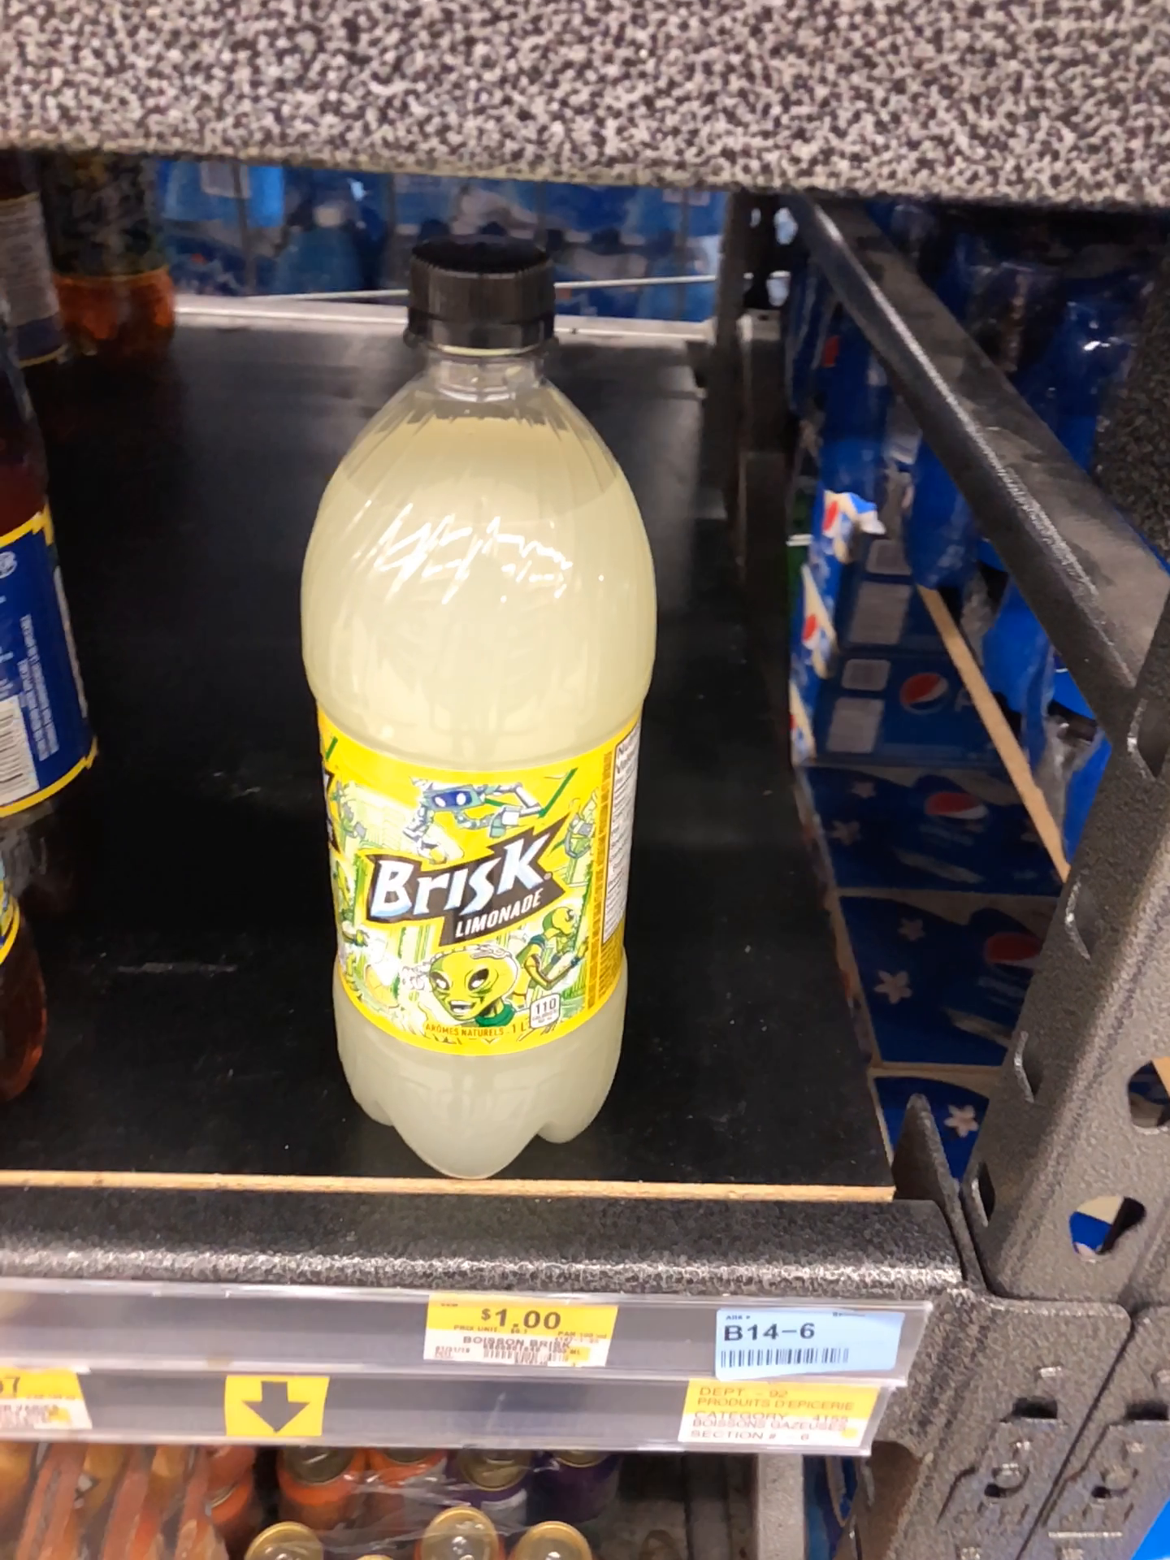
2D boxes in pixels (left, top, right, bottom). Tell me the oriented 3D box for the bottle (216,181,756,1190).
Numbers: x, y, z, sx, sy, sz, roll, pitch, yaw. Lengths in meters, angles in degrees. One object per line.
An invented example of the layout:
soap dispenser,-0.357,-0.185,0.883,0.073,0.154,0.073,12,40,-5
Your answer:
bottle,-0.023,-0.012,0.317,0.090,0.228,0.091,3,35,-2
